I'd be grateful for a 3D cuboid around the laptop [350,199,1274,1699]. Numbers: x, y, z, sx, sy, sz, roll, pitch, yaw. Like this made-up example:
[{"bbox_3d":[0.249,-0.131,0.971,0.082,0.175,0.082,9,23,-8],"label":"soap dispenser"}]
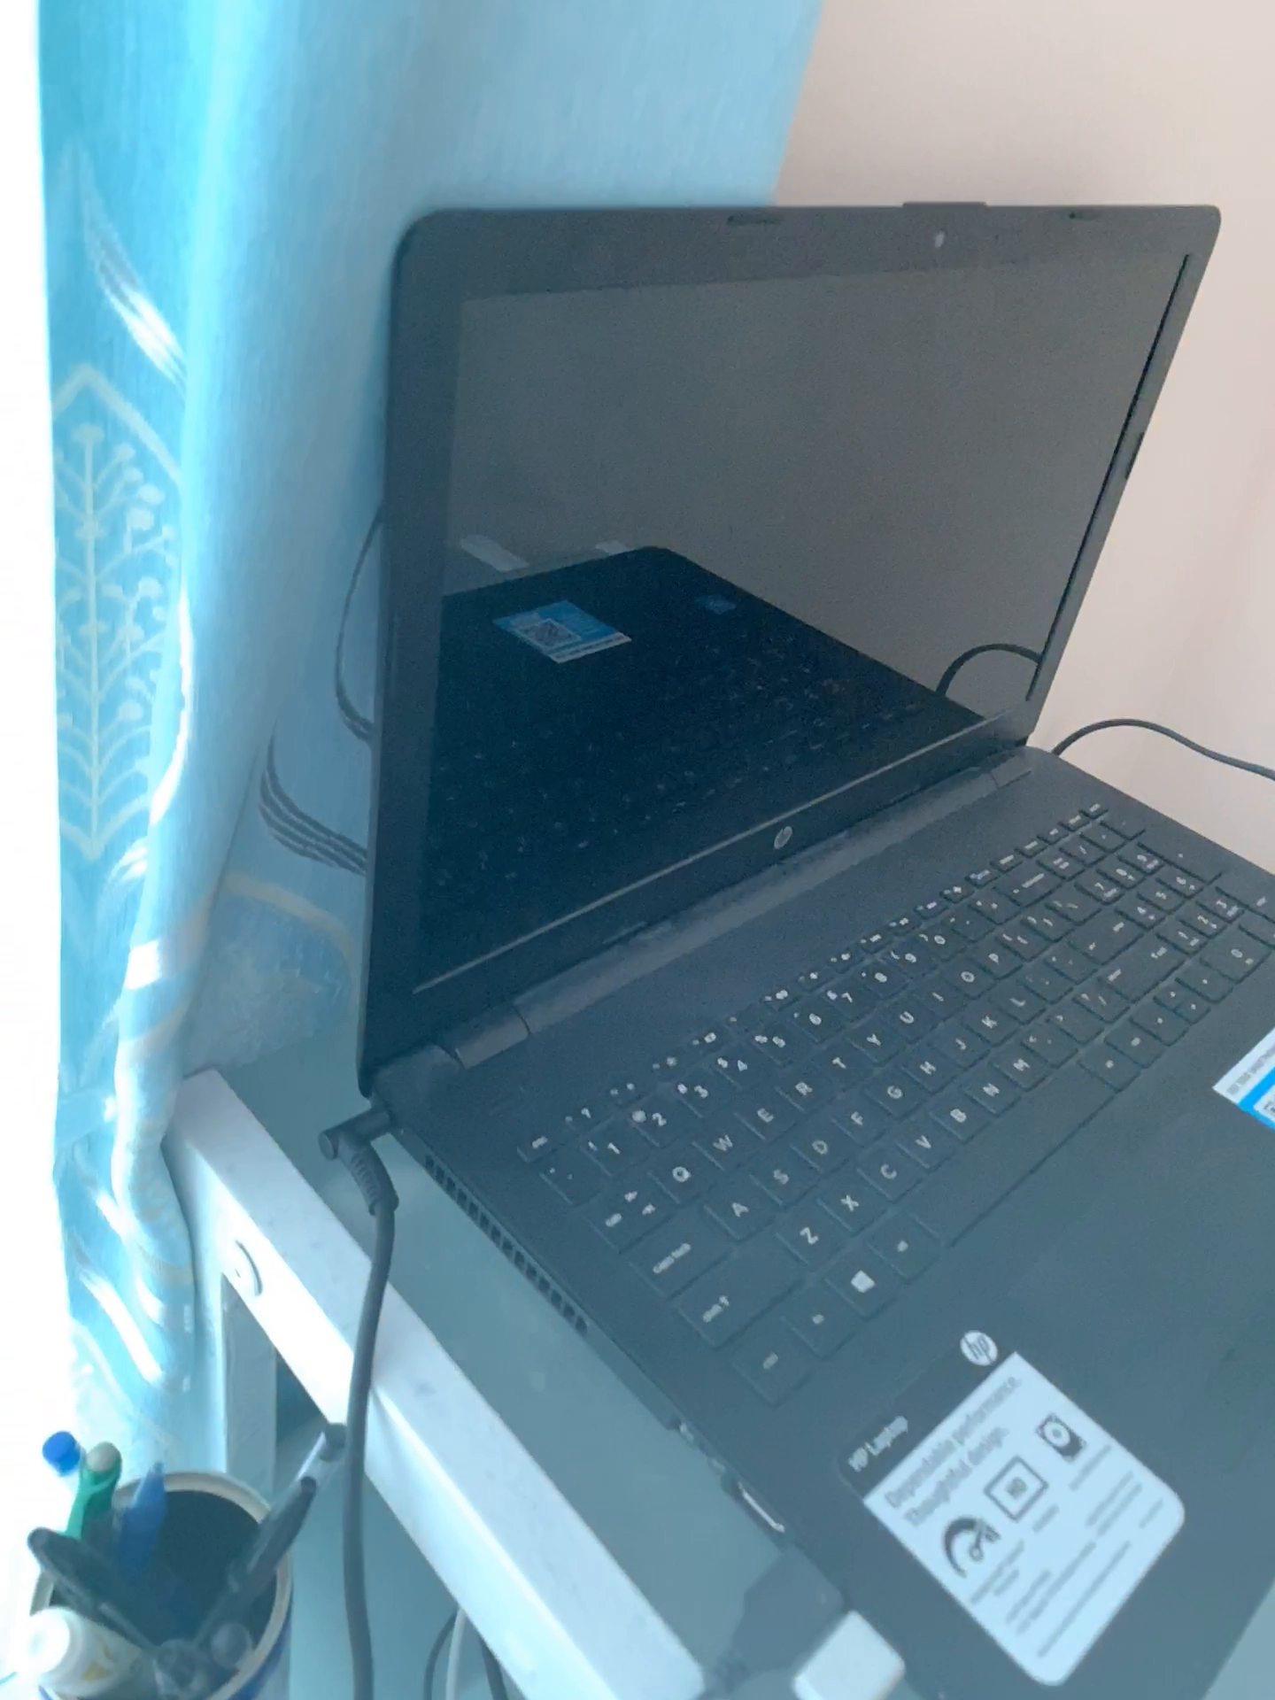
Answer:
[{"bbox_3d":[0.148,-0.025,0.363,0.360,0.225,0.245,-24,47,-40],"label":"laptop"}]
